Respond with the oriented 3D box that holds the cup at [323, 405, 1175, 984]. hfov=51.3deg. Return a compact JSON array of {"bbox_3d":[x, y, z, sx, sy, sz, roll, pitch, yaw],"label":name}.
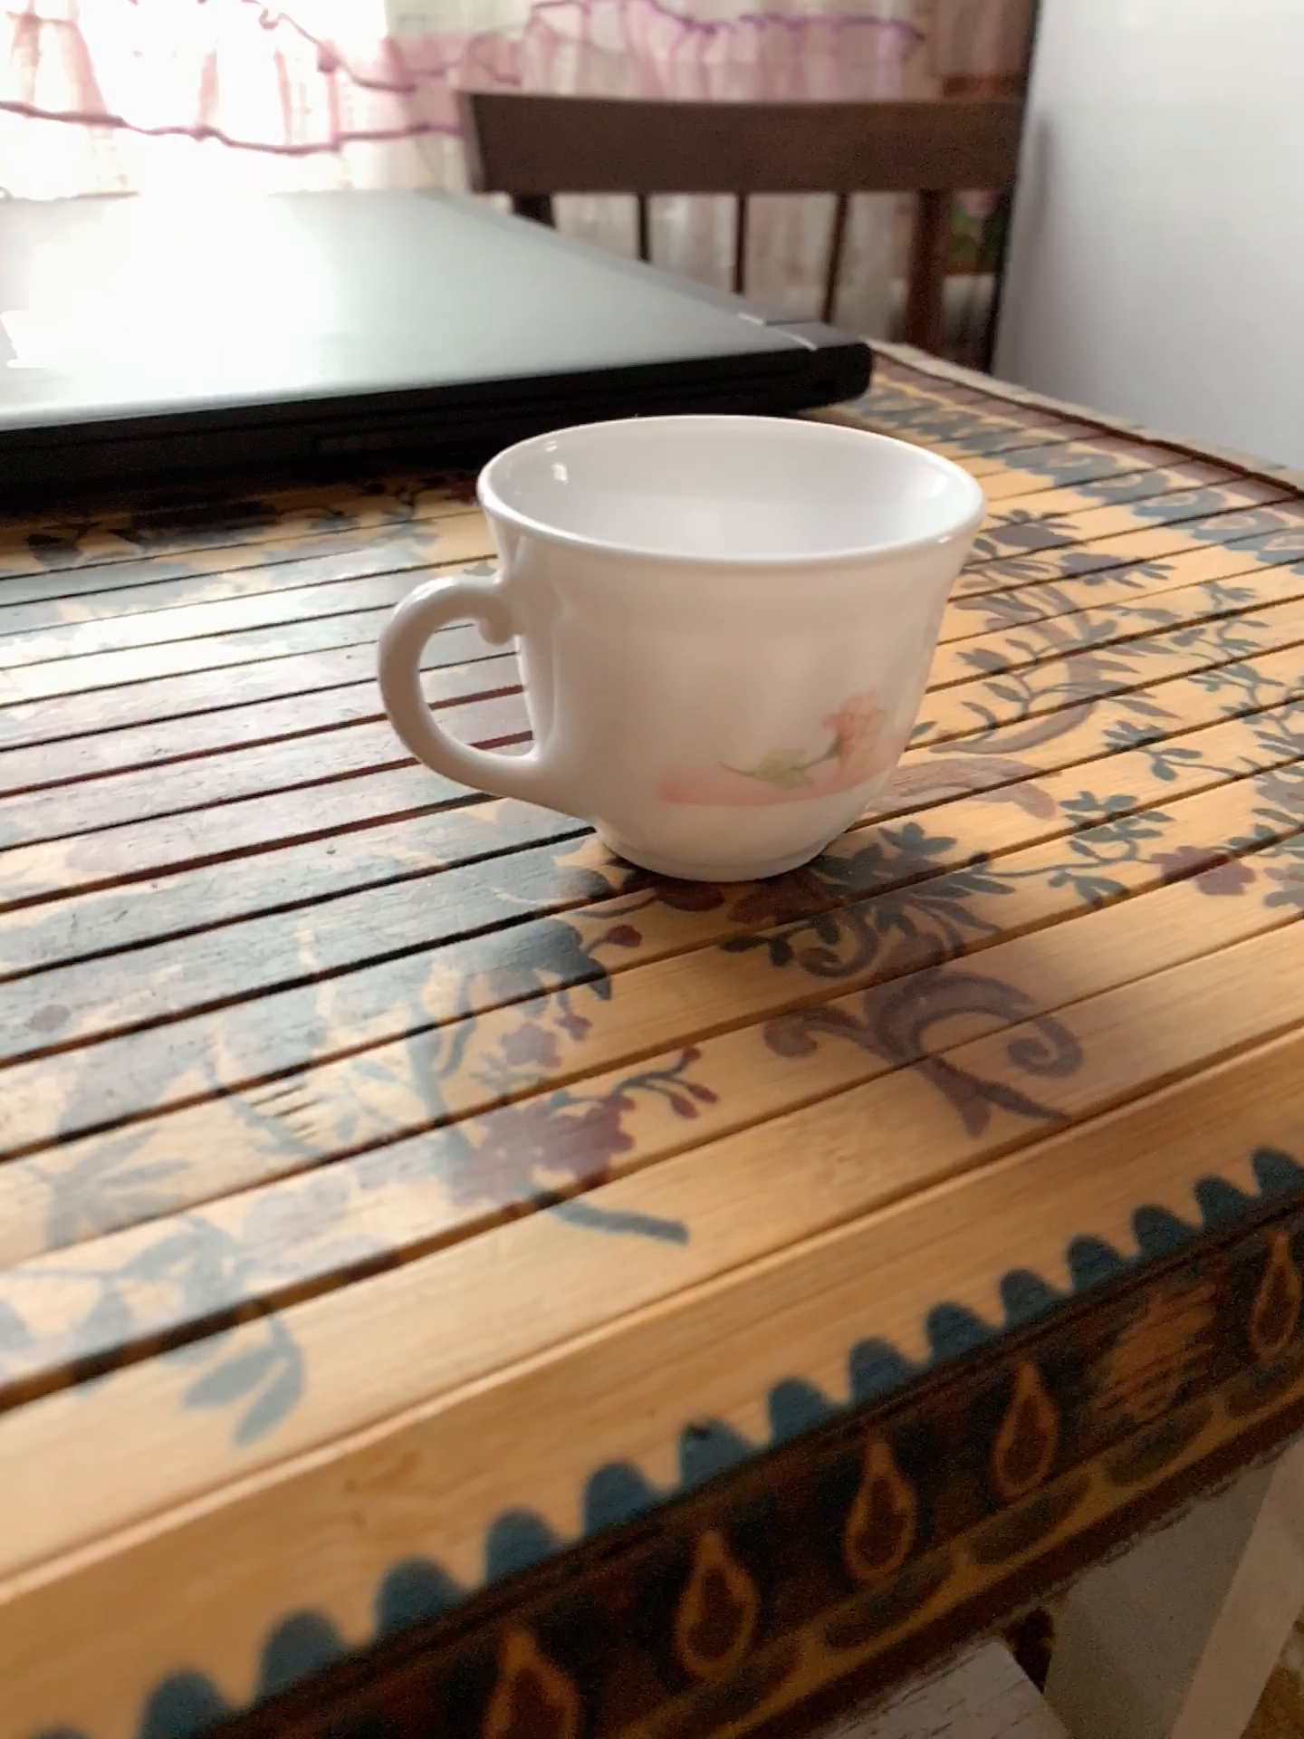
[{"bbox_3d":[0.007,-0.029,0.173,0.080,0.039,0.068,-11,34,-20],"label":"cup"}]
